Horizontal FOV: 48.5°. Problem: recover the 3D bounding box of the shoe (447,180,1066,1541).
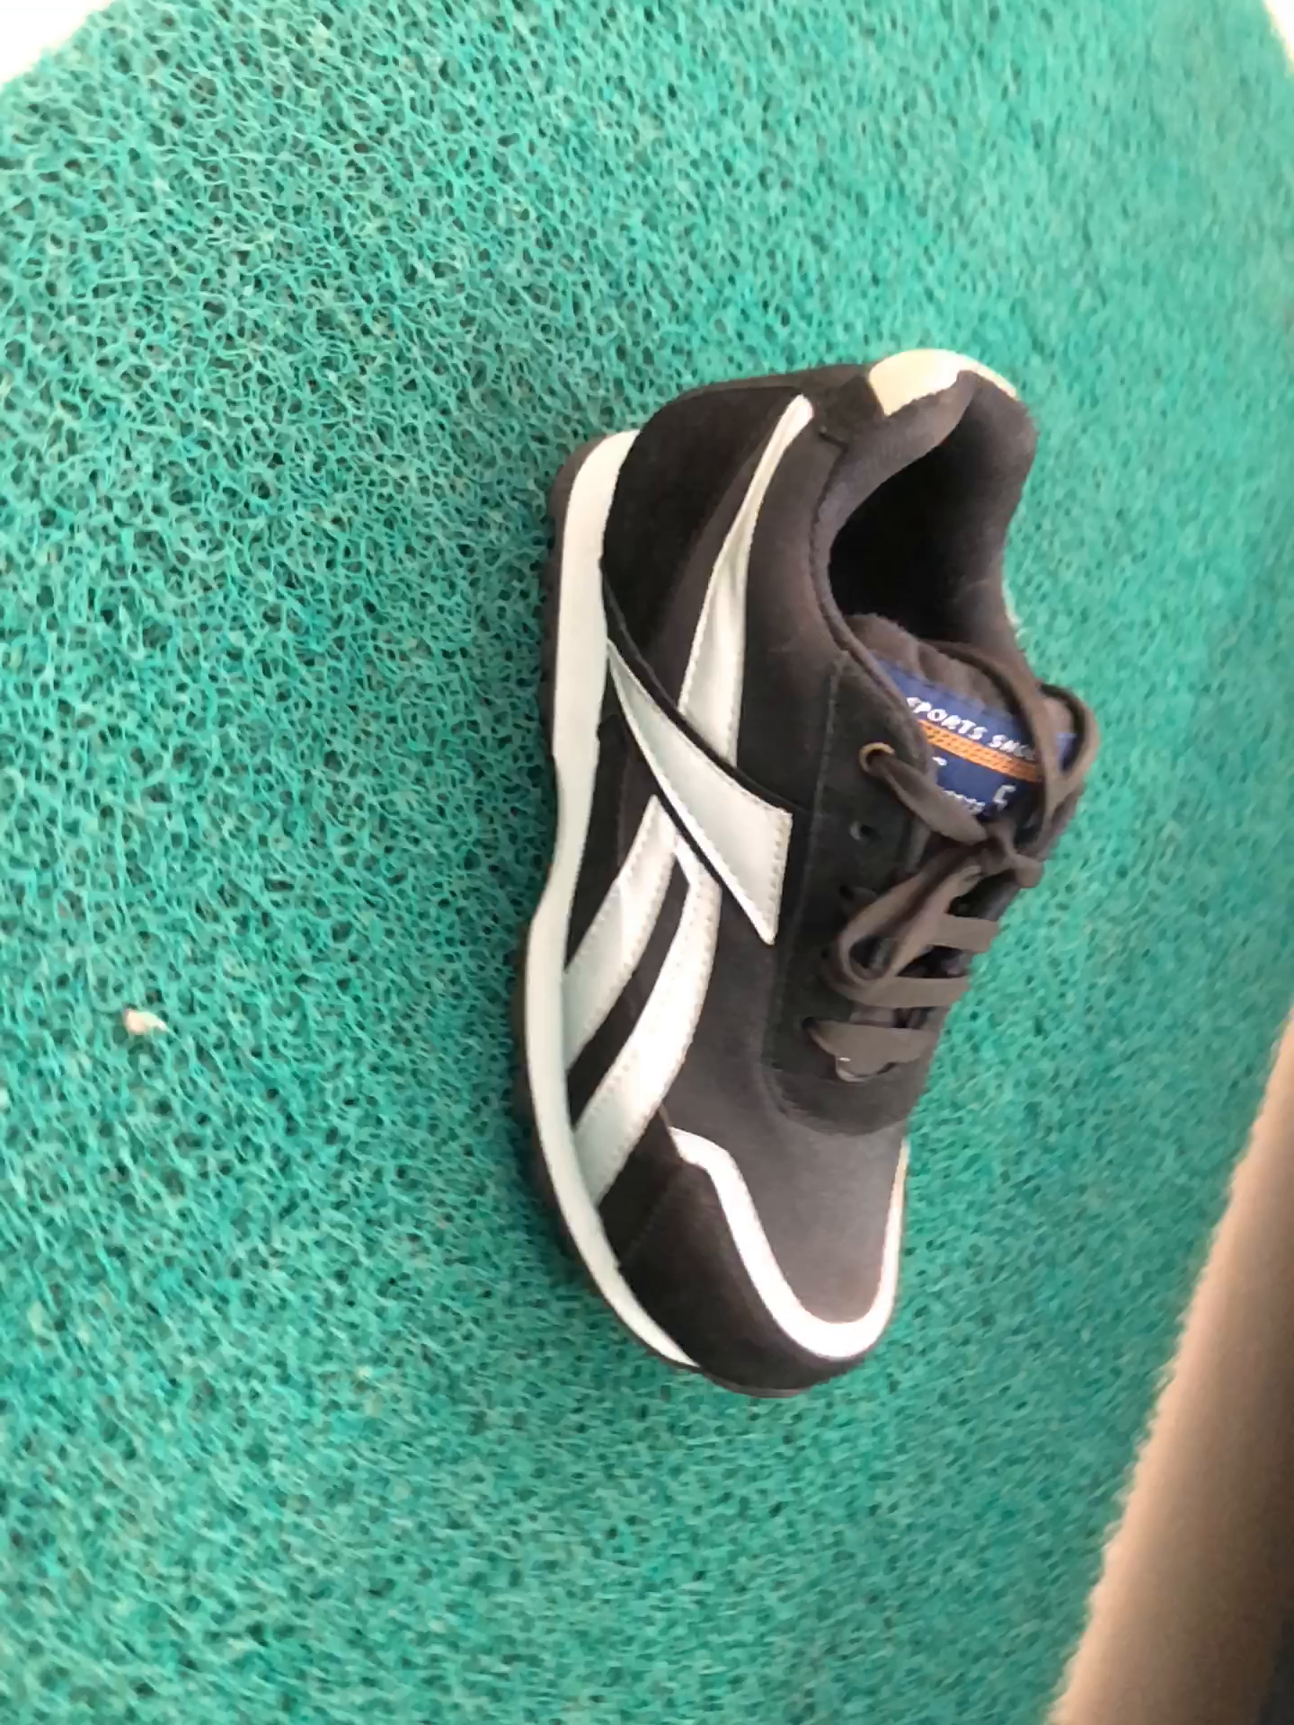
[{"bbox_3d":[0.030,0.000,0.379,0.101,0.109,0.290,8,83,-42],"label":"shoe"}]
